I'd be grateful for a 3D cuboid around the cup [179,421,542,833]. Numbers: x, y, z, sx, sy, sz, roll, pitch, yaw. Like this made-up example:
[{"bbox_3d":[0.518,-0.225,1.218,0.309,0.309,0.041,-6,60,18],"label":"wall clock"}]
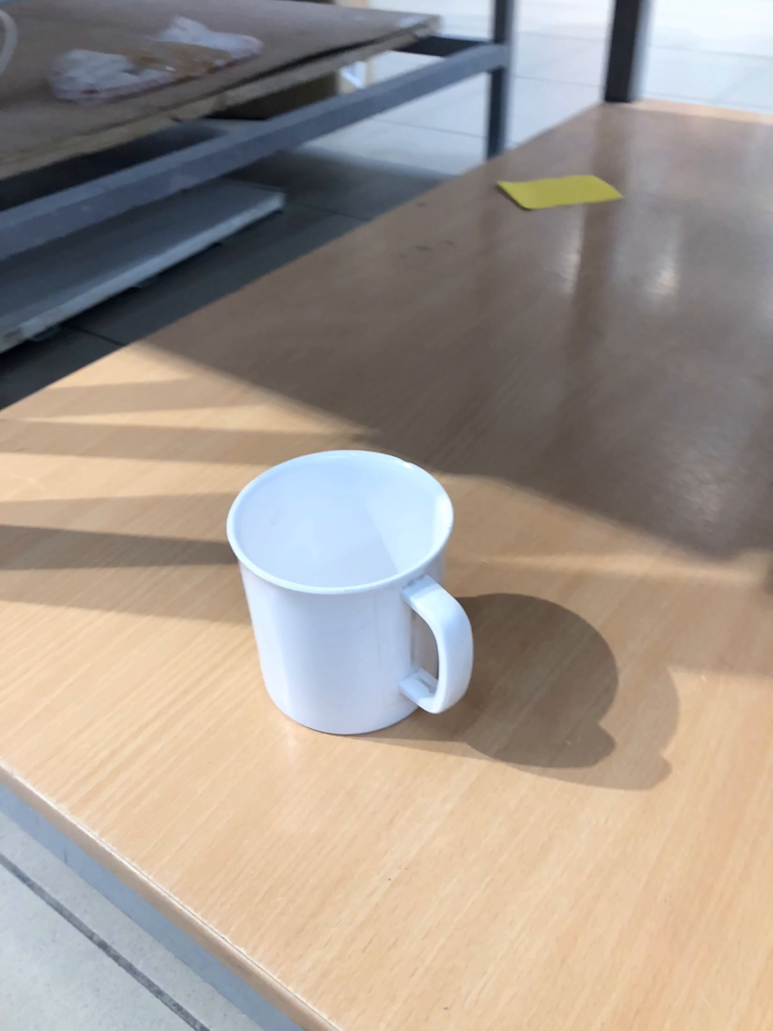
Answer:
[{"bbox_3d":[-0.011,0.038,0.337,0.080,0.089,0.110,-28,45,-29],"label":"cup"}]
